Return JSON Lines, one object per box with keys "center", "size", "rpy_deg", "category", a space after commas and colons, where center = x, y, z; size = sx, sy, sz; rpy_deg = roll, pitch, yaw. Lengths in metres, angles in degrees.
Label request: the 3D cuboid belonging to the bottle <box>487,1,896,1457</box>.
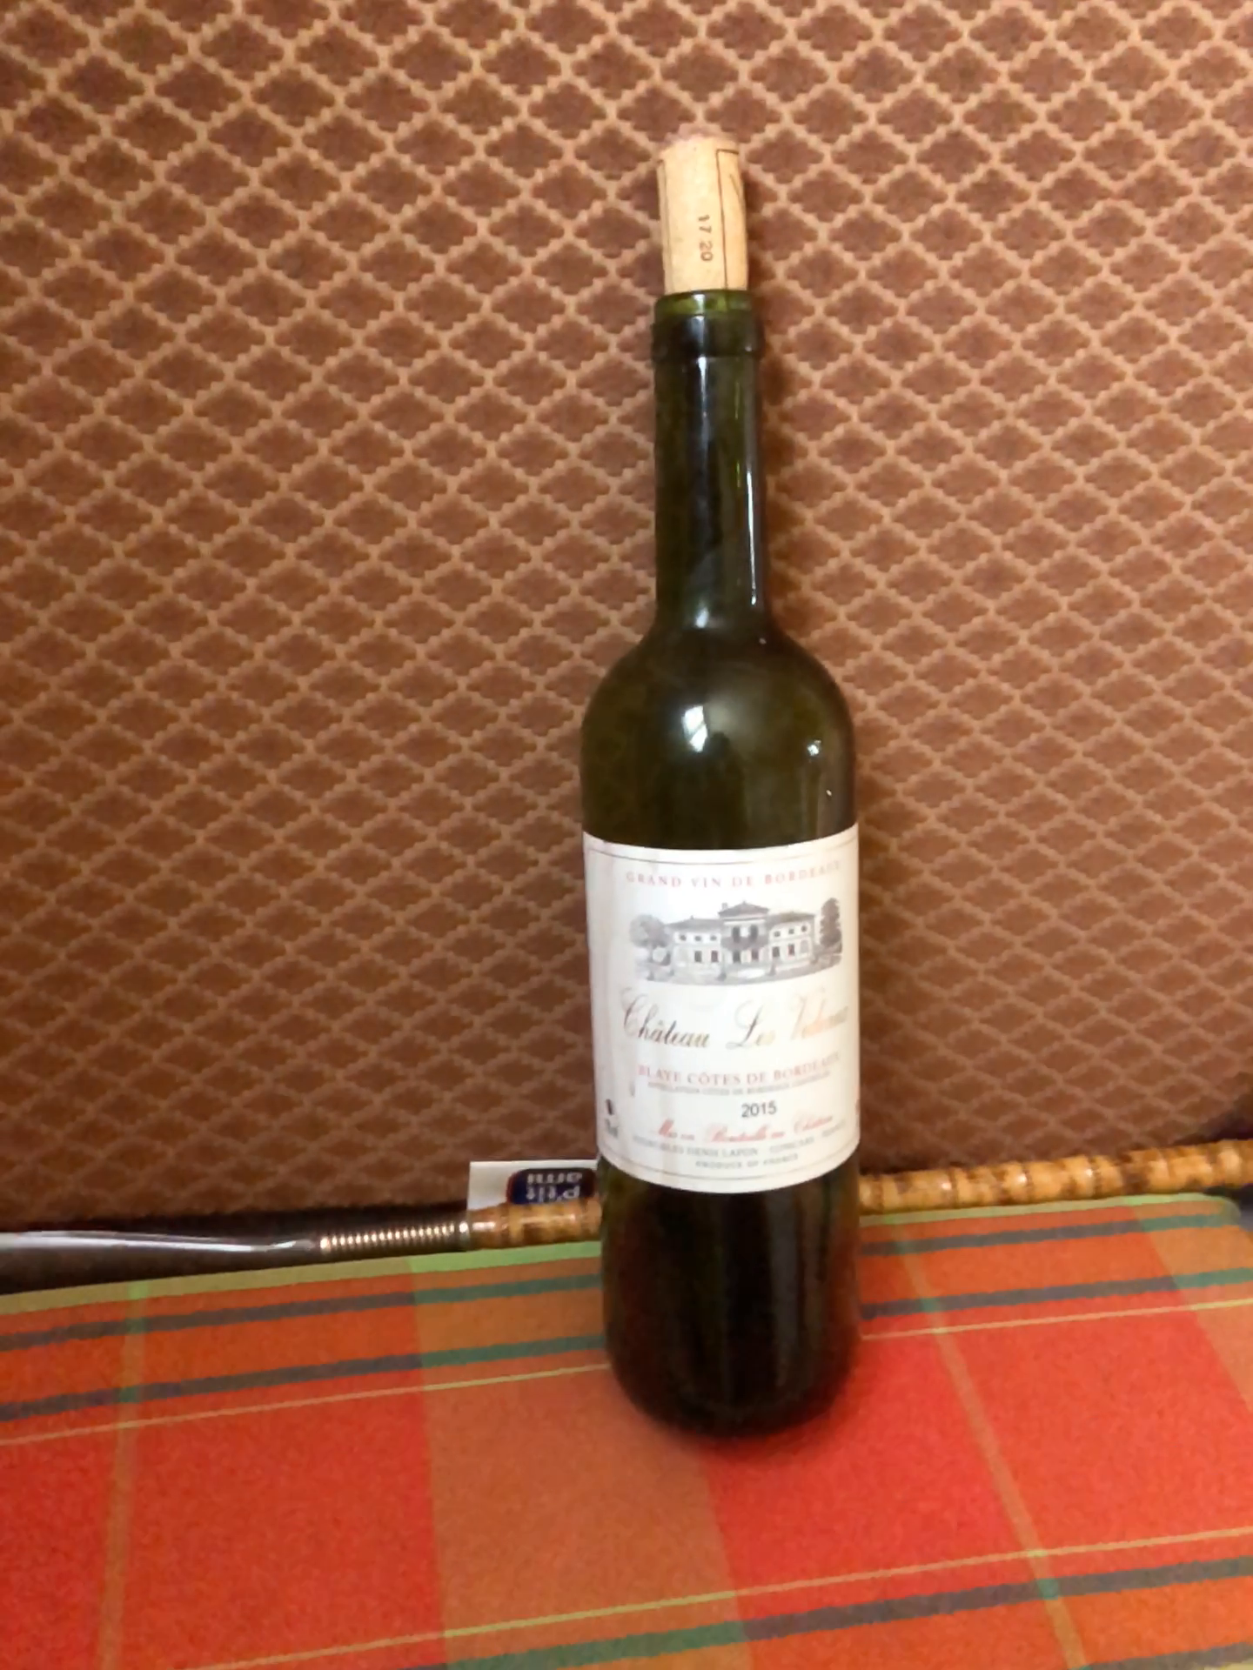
{"center": [0.020, -0.014, 0.359], "size": [0.080, 0.339, 0.070], "rpy_deg": [-3, 12, 0], "category": "bottle"}
